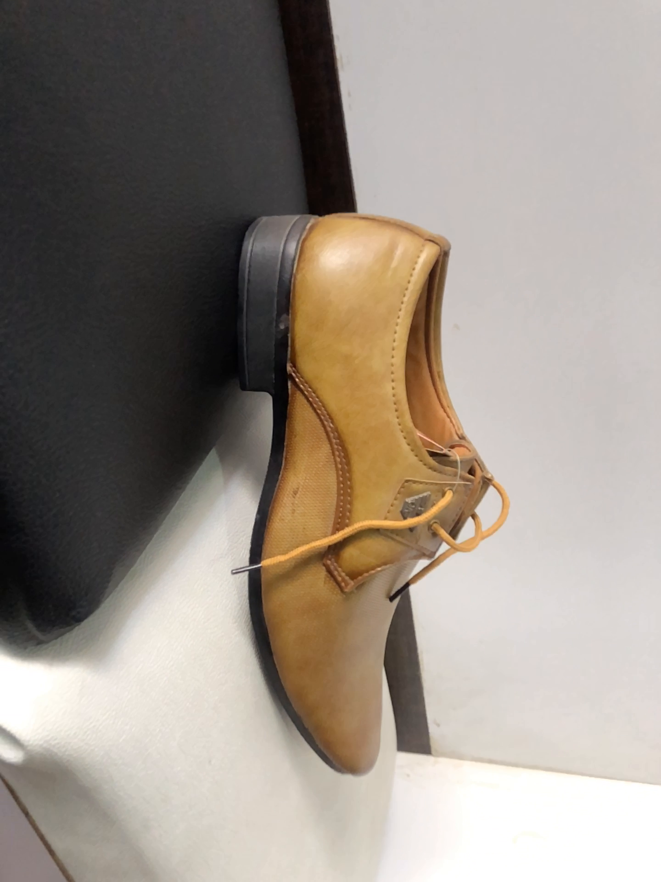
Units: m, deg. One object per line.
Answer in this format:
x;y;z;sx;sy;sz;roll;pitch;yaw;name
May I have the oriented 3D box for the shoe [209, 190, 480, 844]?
0.020;0.035;0.362;0.100;0.090;0.290;-44;132;-67;shoe
